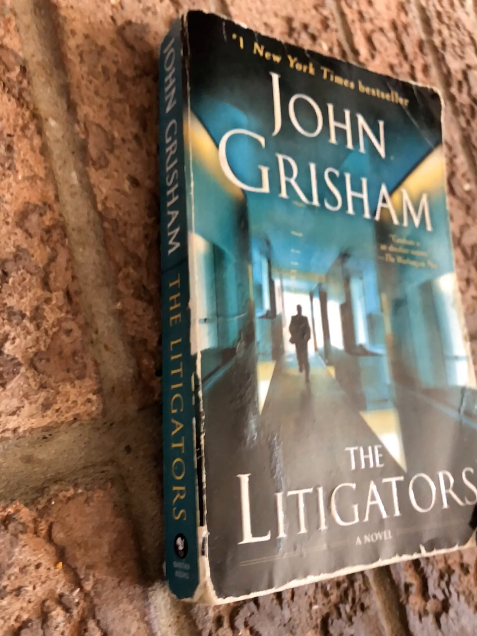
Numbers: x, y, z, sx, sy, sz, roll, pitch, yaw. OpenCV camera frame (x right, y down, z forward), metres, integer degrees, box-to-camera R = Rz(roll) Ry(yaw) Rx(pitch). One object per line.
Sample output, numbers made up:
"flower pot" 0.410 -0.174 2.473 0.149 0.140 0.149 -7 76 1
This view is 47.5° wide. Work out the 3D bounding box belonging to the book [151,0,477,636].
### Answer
"book" 0.038 -0.003 0.205 0.136 0.033 0.199 5 75 -29
